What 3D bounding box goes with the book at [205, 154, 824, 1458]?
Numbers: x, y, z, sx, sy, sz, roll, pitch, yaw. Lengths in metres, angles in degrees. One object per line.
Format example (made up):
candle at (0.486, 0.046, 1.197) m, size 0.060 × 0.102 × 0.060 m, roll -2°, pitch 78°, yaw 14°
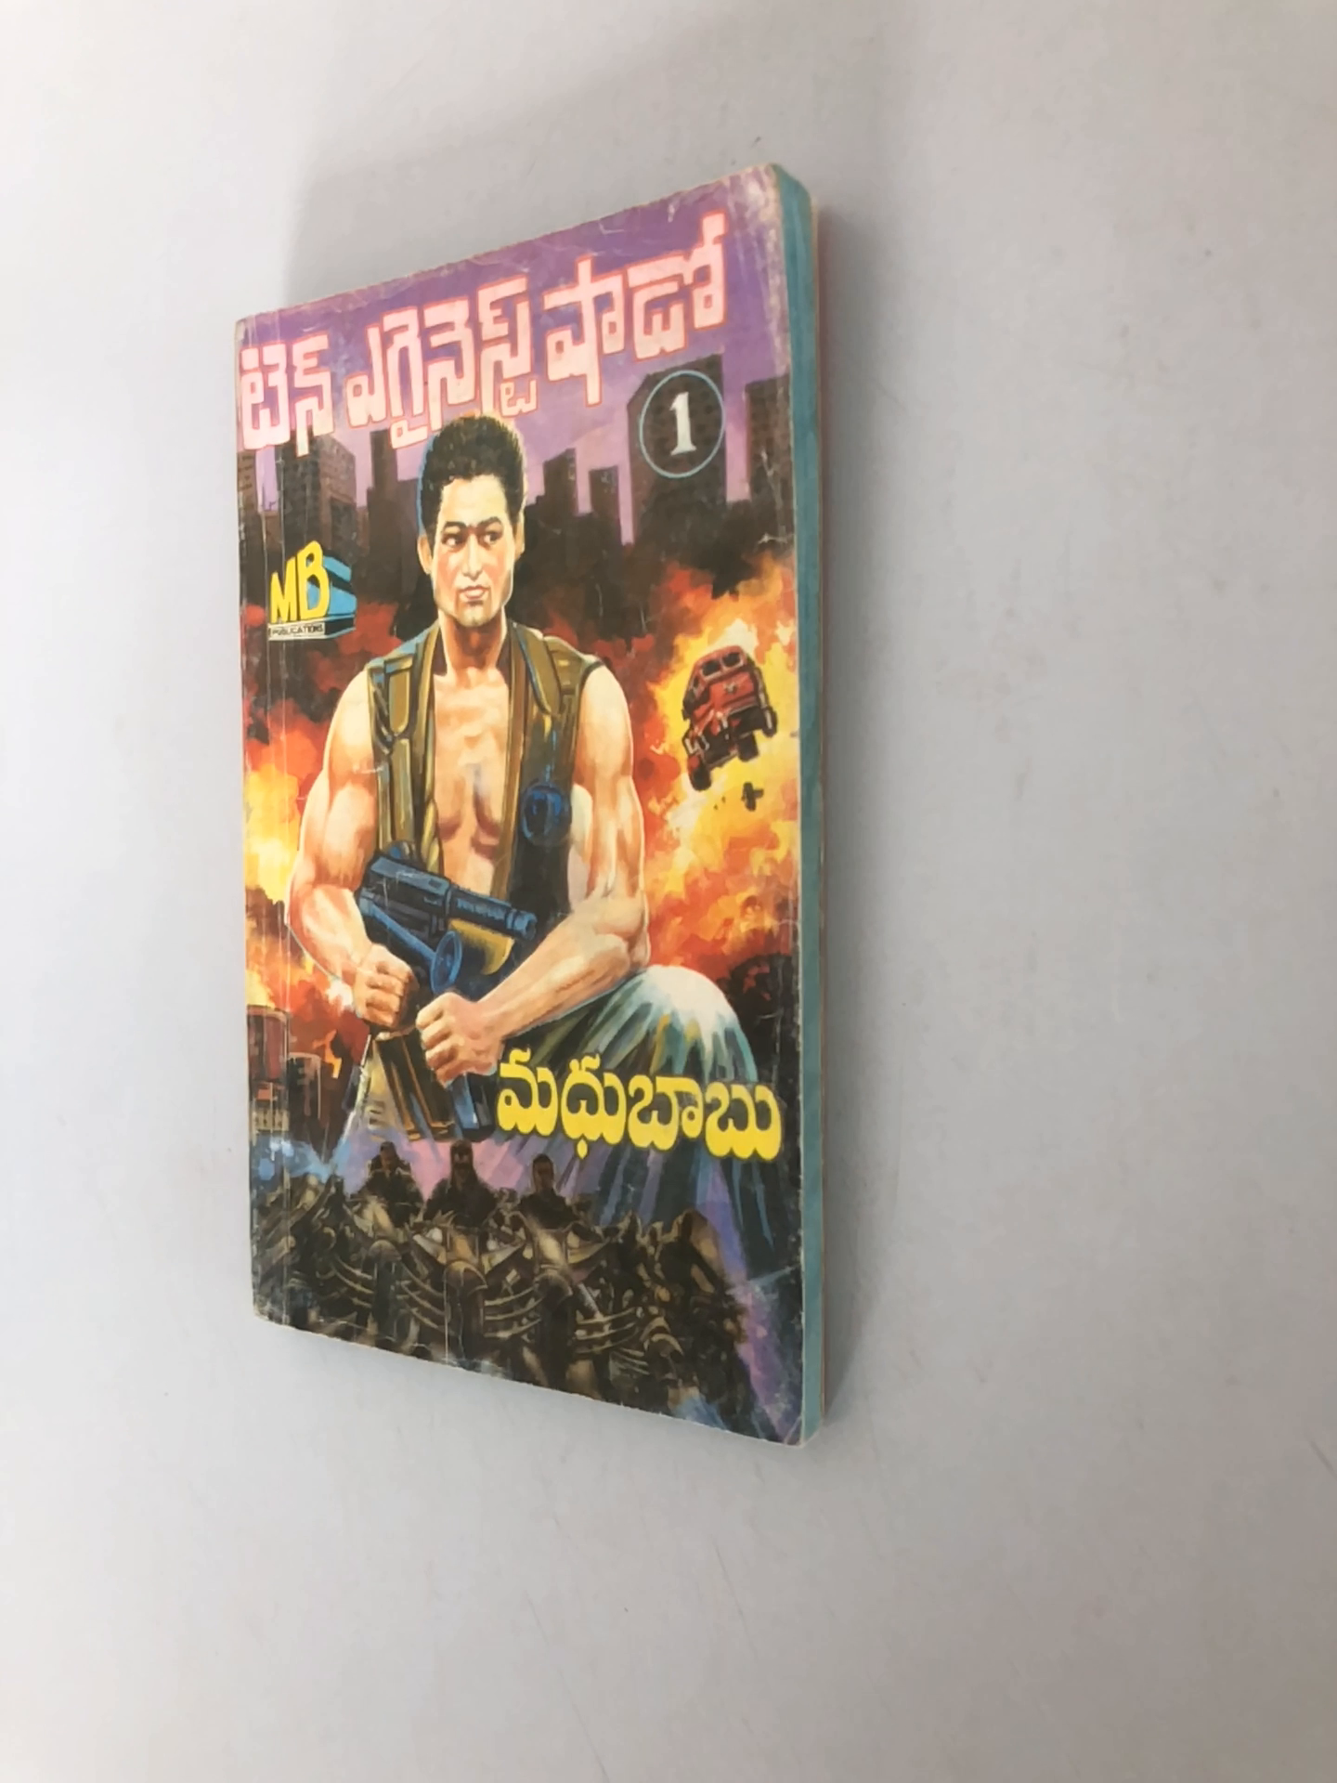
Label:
book at (-0.026, -0.010, 0.205) m, size 0.100 × 0.010 × 0.151 m, roll 0°, pitch 91°, yaw 34°
